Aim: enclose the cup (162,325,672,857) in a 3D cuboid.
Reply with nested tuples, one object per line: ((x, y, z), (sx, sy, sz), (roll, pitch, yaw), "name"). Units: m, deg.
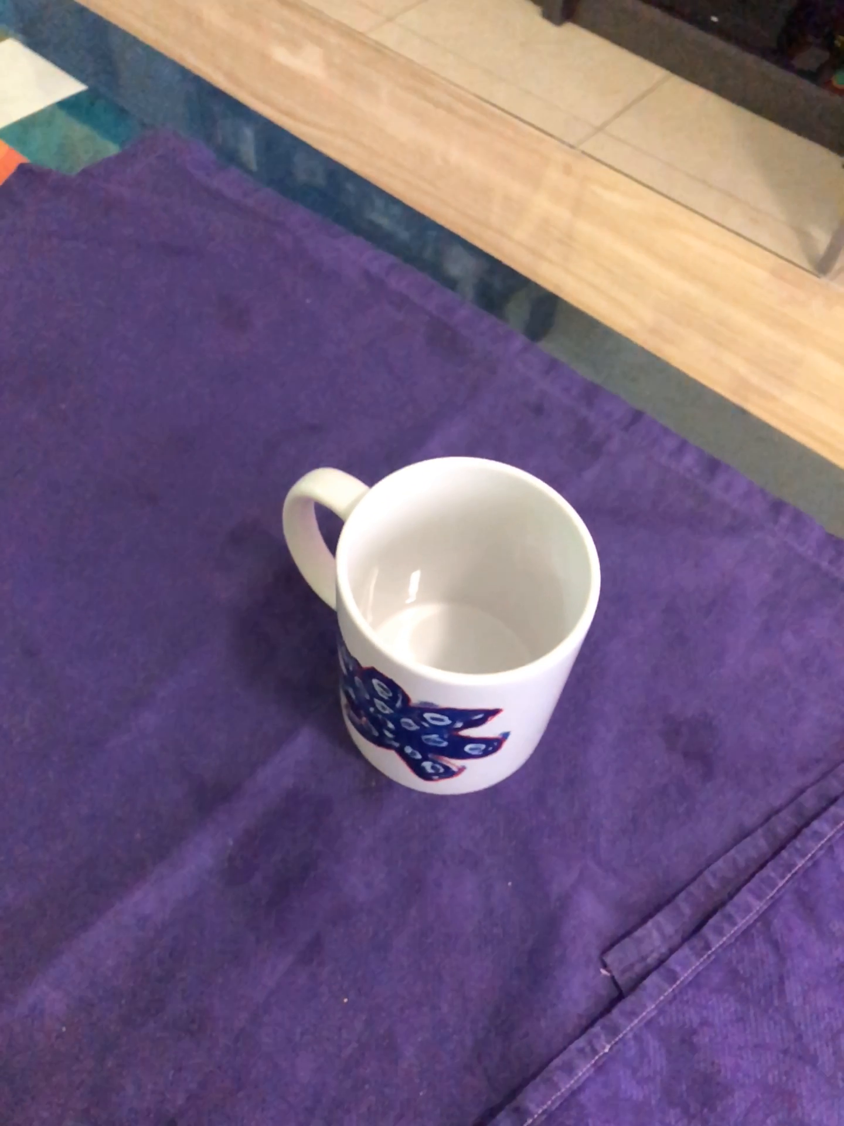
((-0.006, 0.009, 0.311), (0.080, 0.090, 0.130), (-38, 67, -24), "cup")
